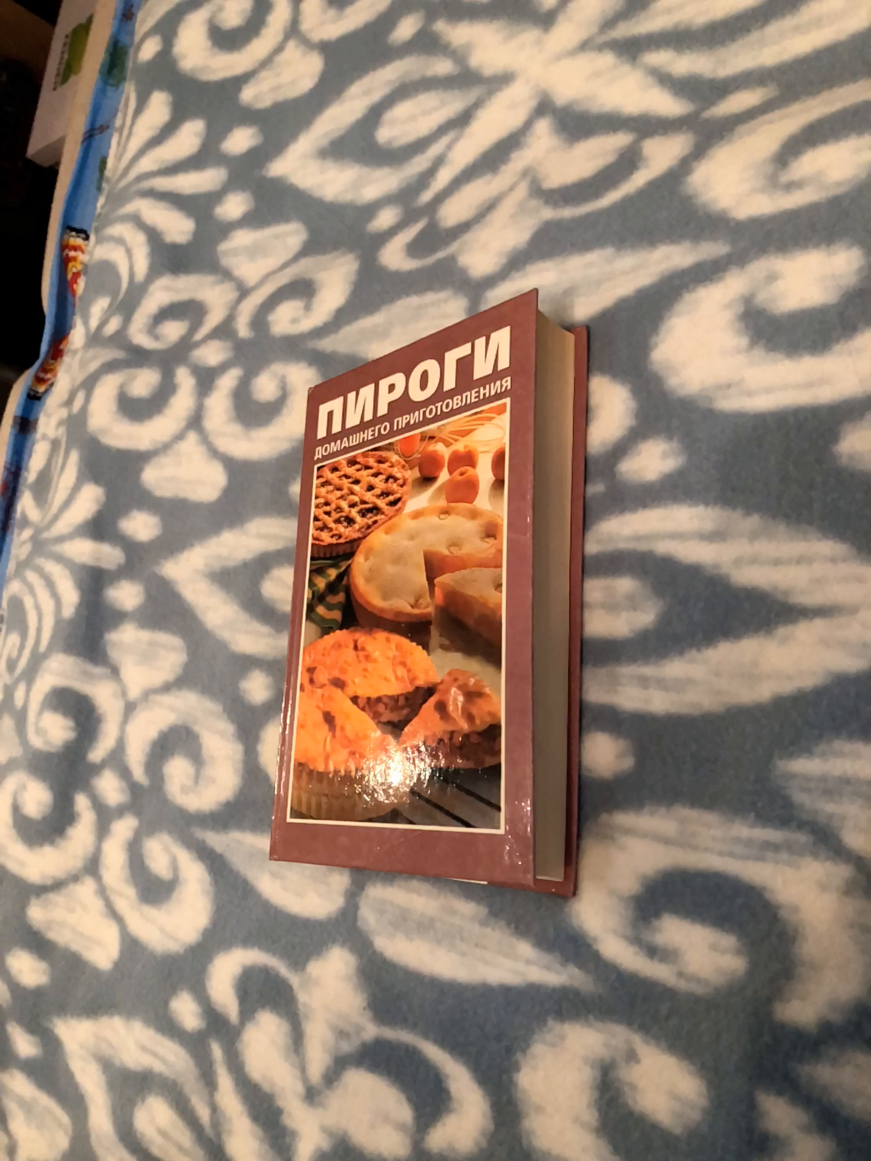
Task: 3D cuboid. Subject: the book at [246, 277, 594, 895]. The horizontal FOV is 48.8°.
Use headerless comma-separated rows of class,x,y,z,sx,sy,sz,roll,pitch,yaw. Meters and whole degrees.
book,-0.007,0.006,0.362,0.132,0.040,0.201,-10,72,43
